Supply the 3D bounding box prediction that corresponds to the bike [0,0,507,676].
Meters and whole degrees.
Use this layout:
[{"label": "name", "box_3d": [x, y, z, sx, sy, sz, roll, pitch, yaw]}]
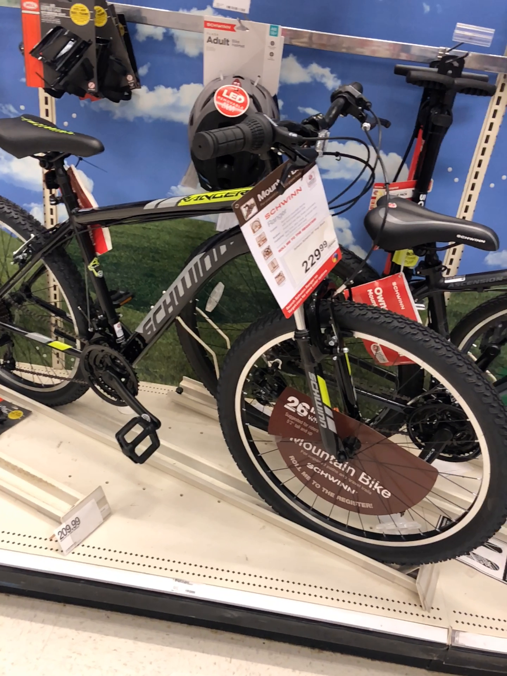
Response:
[{"label": "bike", "box_3d": [-0.266, -0.005, 1.206, 1.653, 1.002, 0.601, 21, 29, 22]}]
